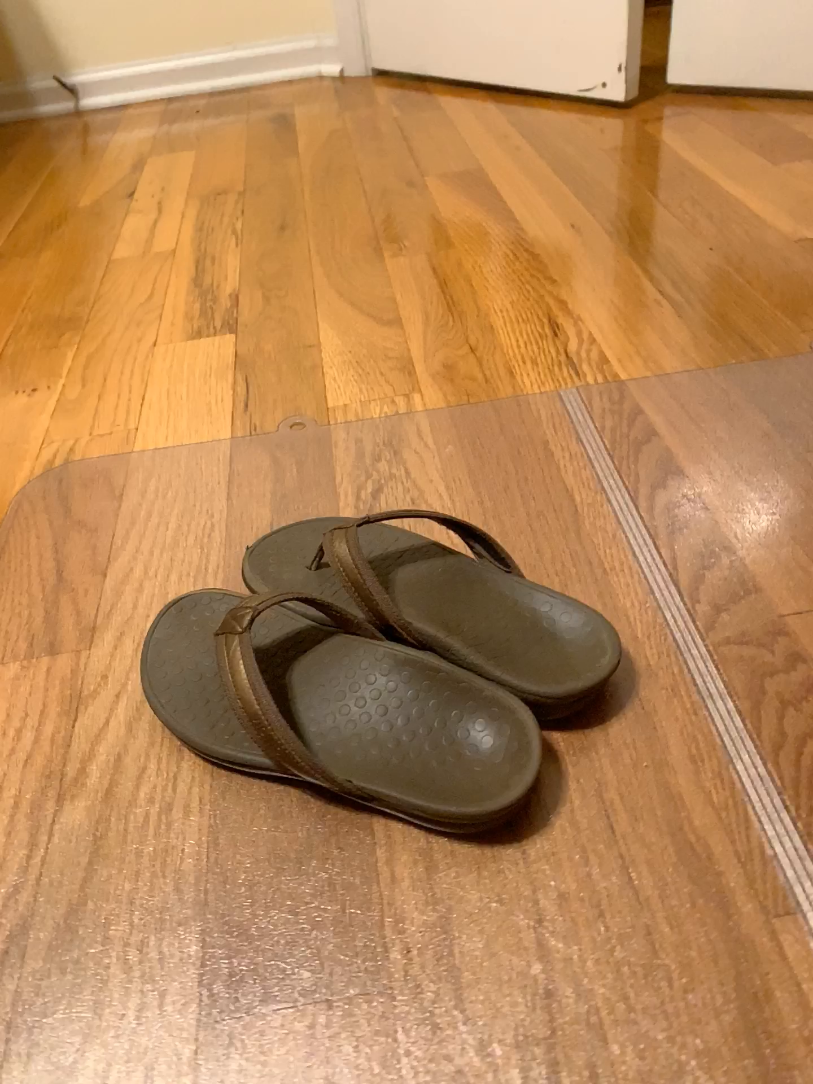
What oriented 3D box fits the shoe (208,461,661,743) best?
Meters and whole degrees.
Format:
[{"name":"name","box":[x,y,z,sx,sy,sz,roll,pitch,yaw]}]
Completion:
[{"name":"shoe","box":[0.011,0.024,0.497,0.251,0.049,0.092,17,46,27]}]

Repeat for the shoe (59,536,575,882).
[{"name":"shoe","box":[-0.046,0.076,0.440,0.247,0.061,0.100,12,45,23]}]
